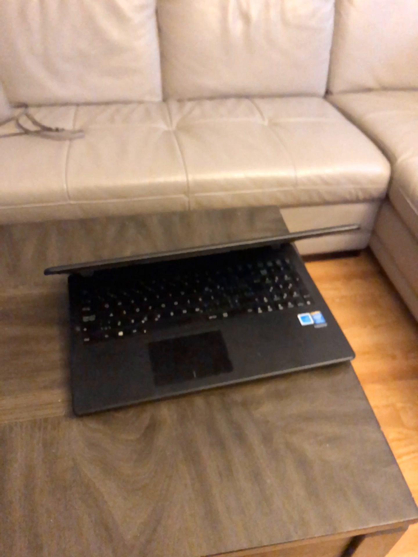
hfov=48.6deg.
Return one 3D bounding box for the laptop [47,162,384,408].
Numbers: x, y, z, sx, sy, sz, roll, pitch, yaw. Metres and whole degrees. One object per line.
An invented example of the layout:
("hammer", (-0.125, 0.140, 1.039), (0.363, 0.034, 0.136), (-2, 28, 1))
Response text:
("laptop", (-0.011, -0.008, 0.635), (0.372, 0.164, 0.239), (-9, 44, -11))
